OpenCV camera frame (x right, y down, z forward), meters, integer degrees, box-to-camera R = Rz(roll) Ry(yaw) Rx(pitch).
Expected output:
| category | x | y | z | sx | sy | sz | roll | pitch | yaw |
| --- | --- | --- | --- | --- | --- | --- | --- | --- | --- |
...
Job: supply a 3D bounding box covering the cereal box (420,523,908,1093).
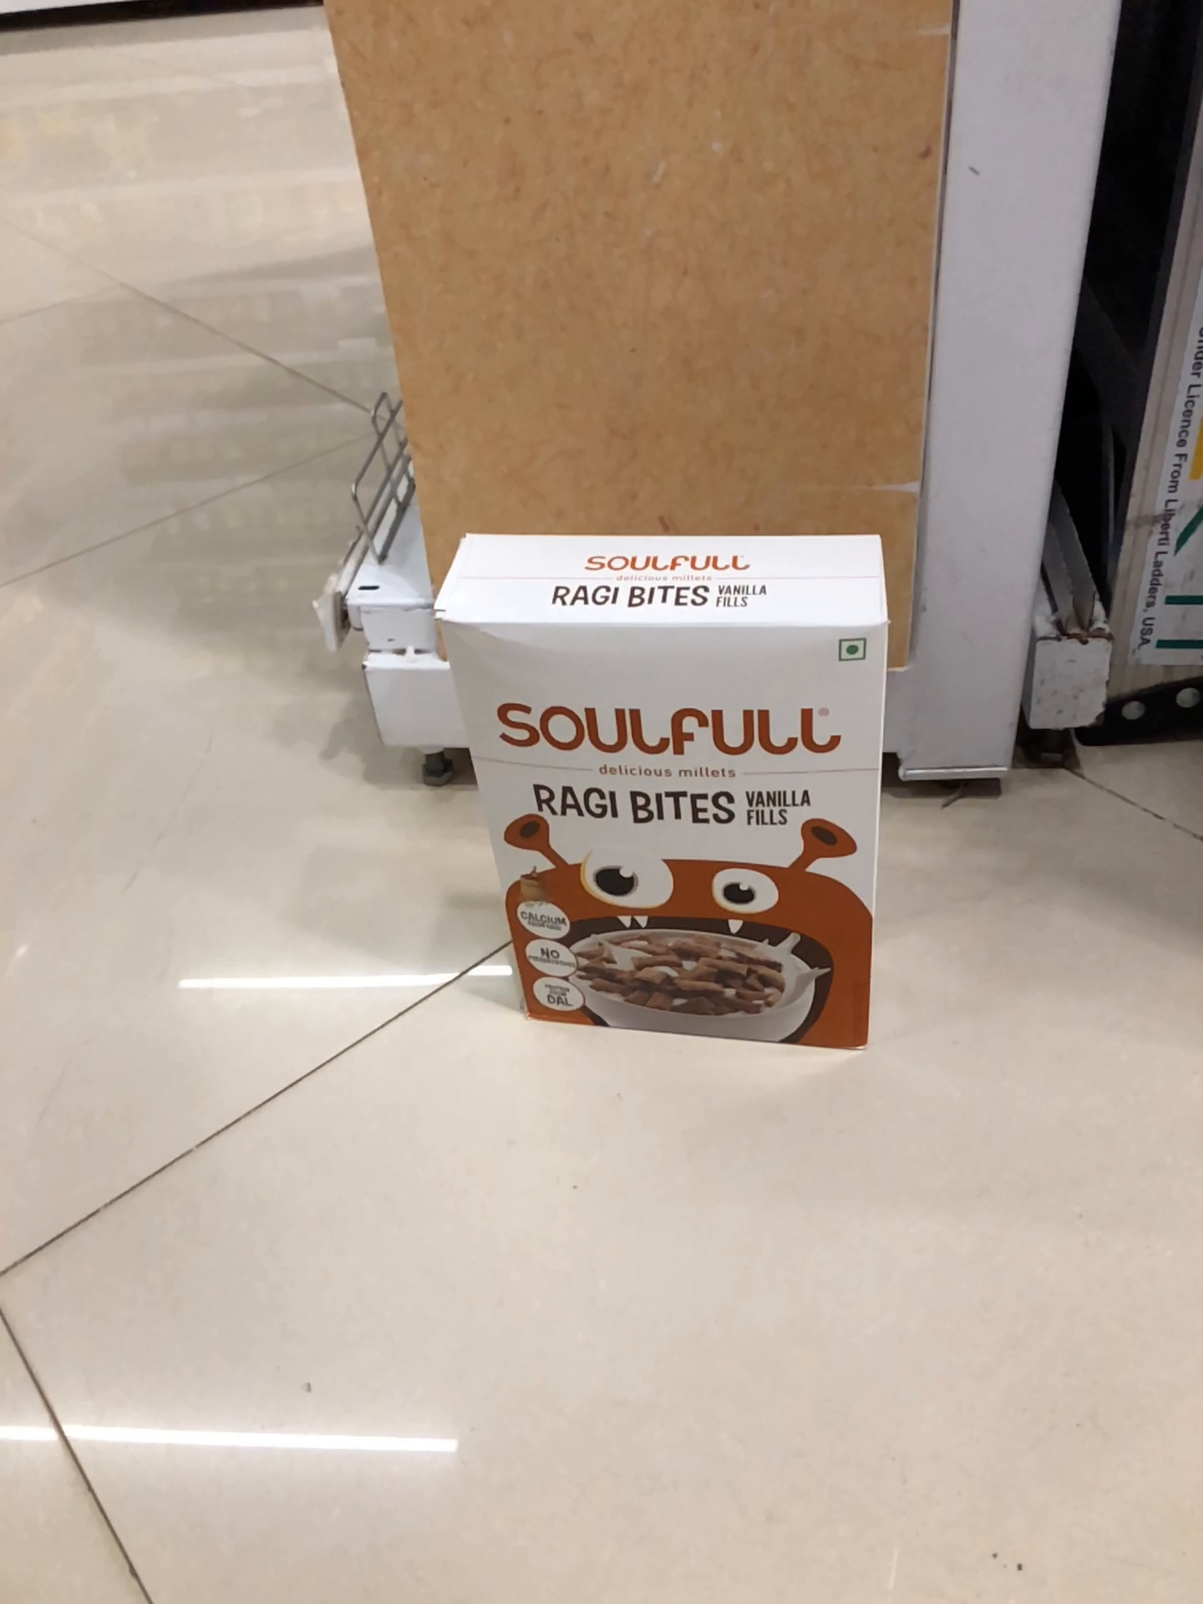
| category | x | y | z | sx | sy | sz | roll | pitch | yaw |
| --- | --- | --- | --- | --- | --- | --- | --- | --- | --- |
| cereal box | 0.037 | 0.011 | 0.563 | 0.170 | 0.248 | 0.071 | 3 | 41 | 11 |
